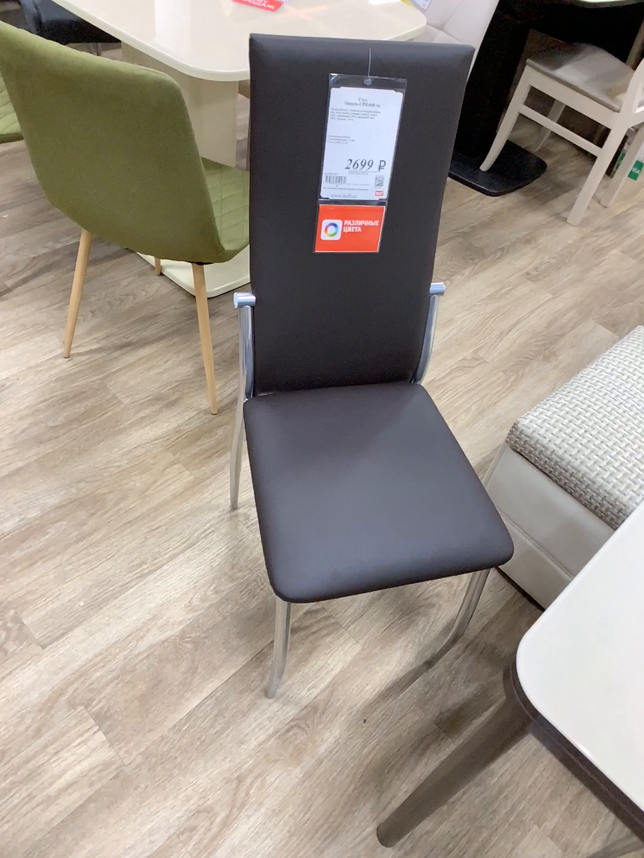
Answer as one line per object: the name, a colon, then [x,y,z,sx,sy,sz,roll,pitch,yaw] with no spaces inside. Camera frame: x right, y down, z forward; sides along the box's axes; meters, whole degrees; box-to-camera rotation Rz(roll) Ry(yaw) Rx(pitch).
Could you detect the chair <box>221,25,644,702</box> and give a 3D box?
chair: [0.082,-0.010,1.089,0.420,0.995,0.502,-5,51,-14]
